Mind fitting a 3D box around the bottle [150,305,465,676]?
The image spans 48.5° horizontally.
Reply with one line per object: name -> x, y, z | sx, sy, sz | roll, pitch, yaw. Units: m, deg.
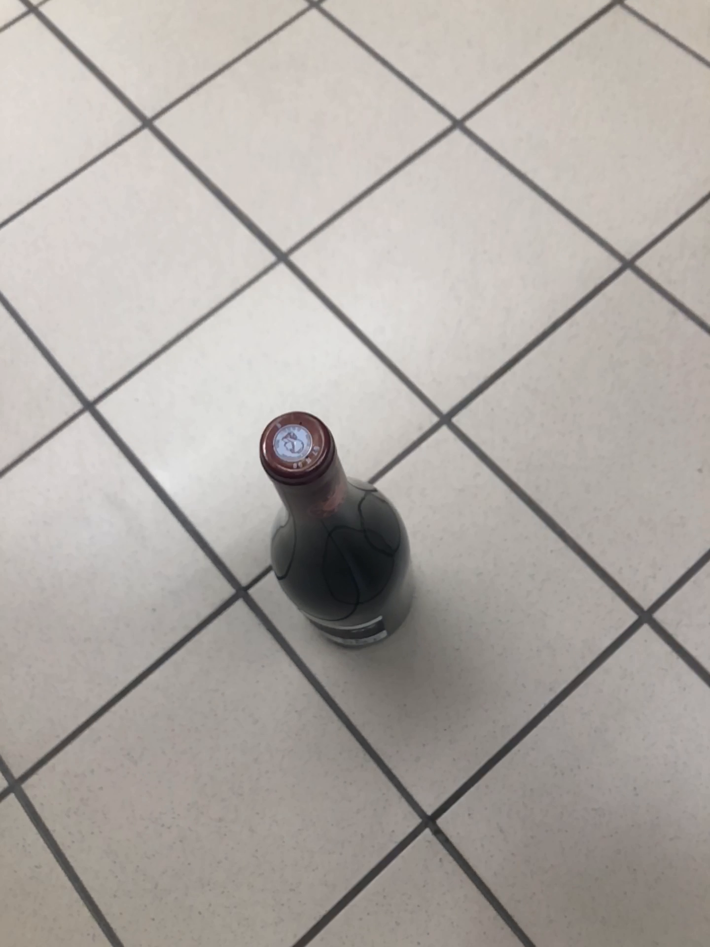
bottle -> -0.005, 0.036, 0.428 | 0.090, 0.289, 0.090 | -2, 70, 5
